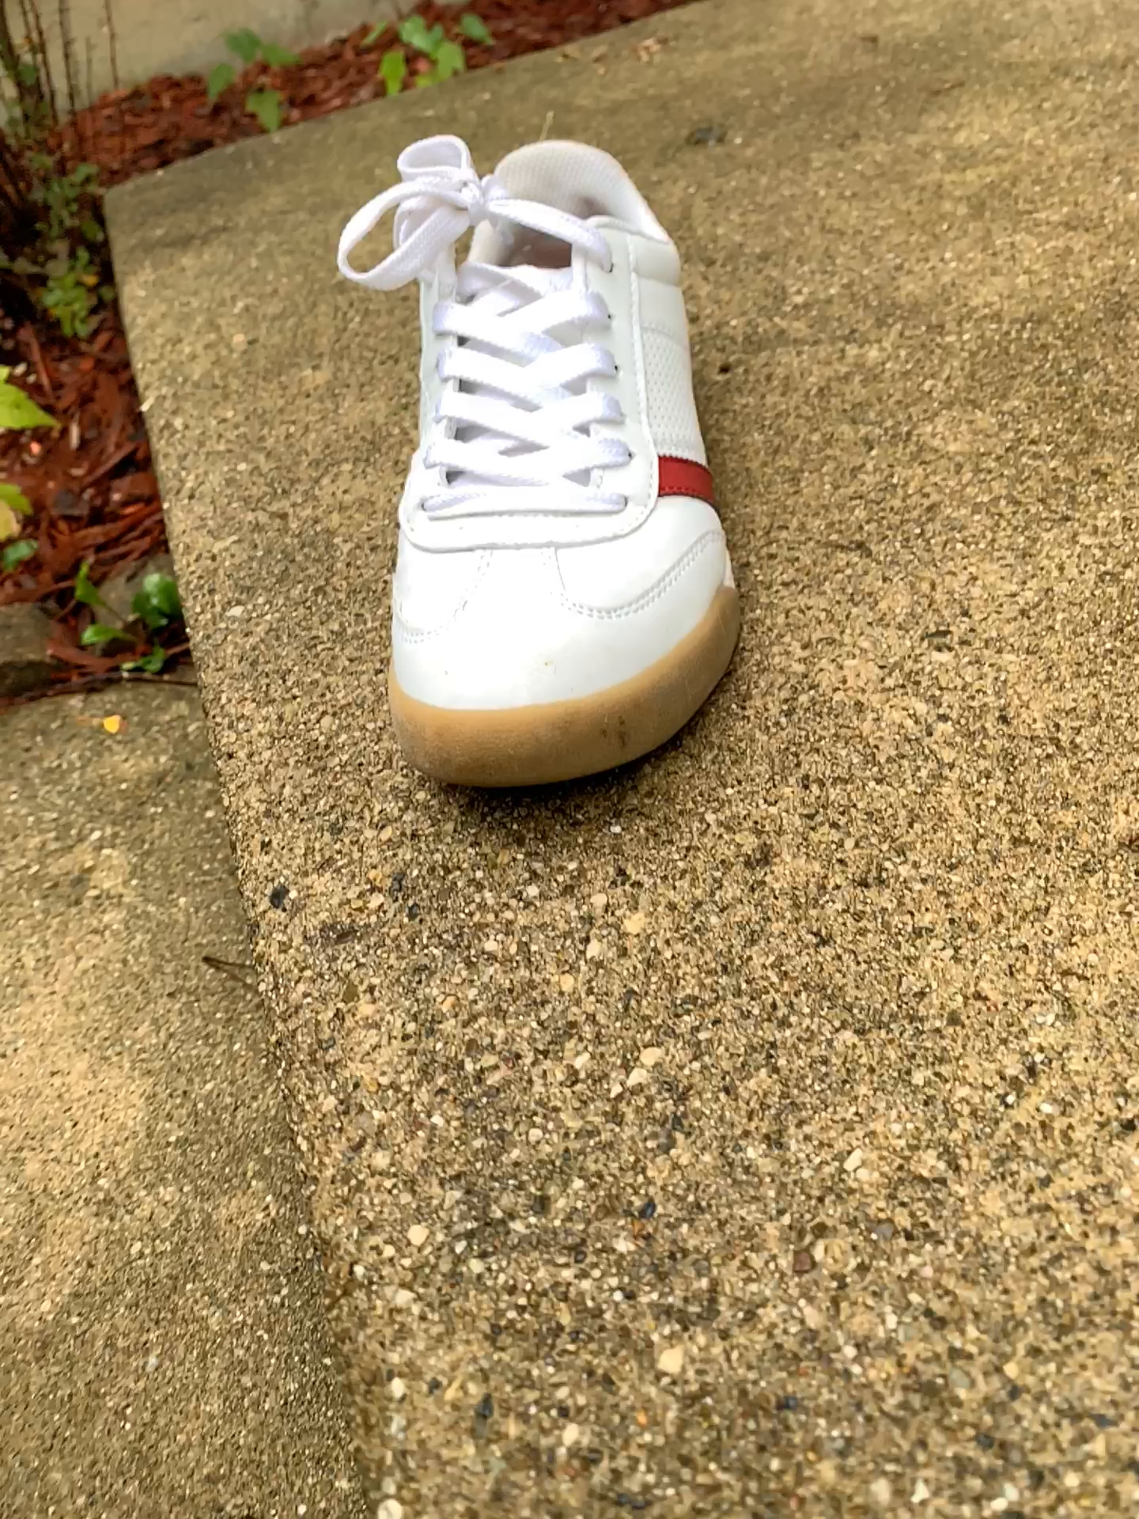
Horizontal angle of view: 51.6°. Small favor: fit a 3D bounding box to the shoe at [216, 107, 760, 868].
[{"bbox_3d":[0.002,-0.100,0.356,0.098,0.092,0.271,-3,43,13],"label":"shoe"}]
